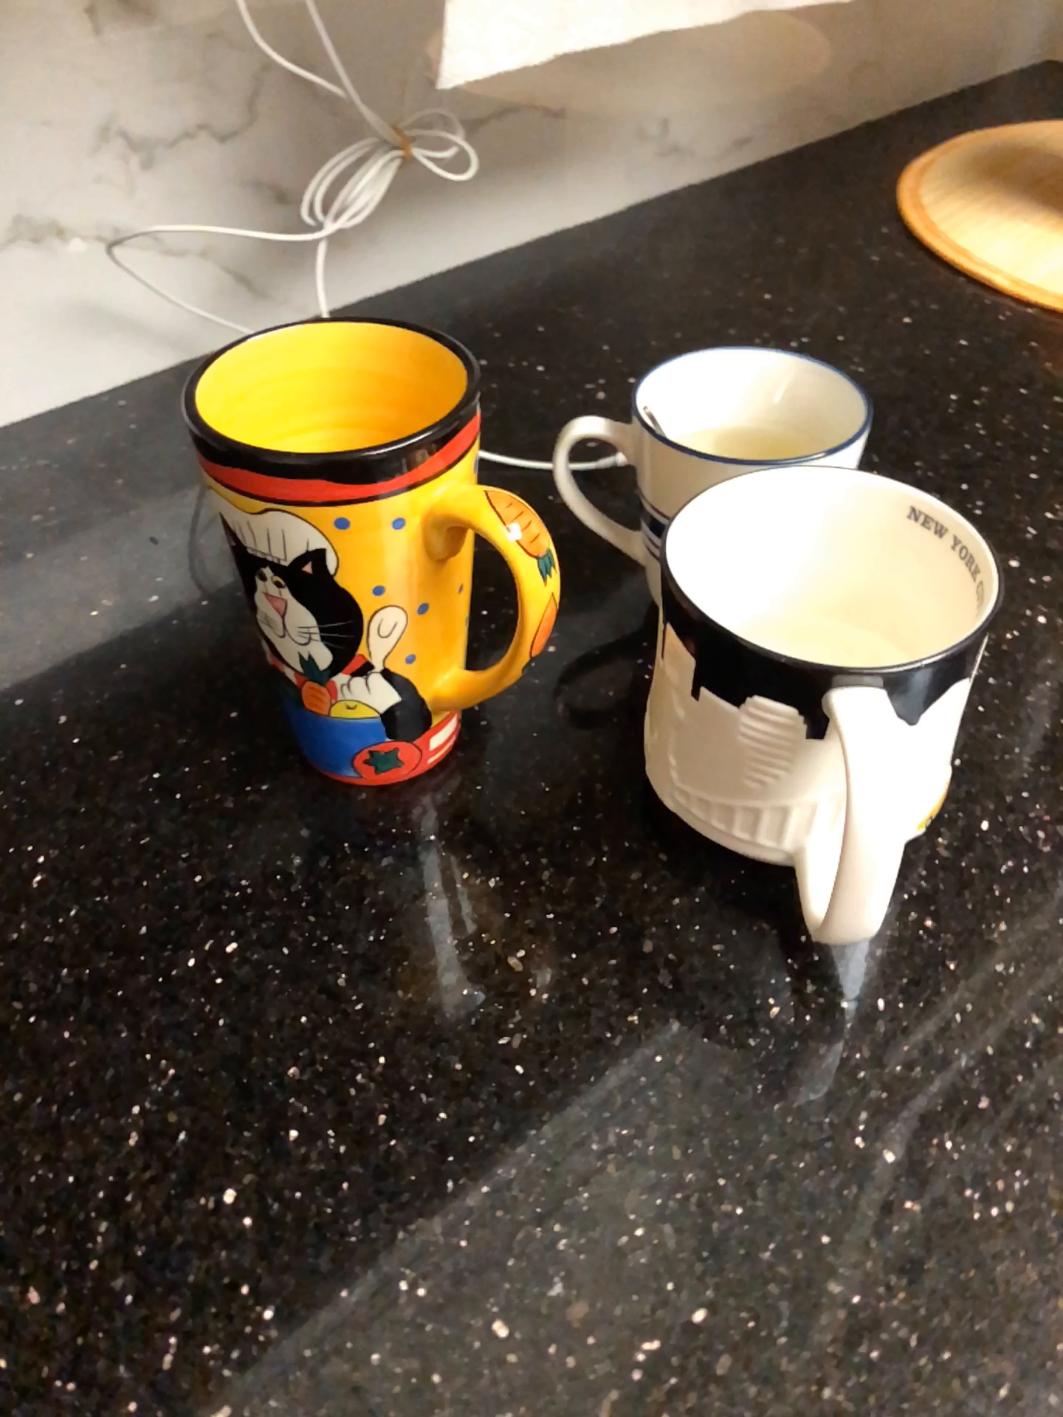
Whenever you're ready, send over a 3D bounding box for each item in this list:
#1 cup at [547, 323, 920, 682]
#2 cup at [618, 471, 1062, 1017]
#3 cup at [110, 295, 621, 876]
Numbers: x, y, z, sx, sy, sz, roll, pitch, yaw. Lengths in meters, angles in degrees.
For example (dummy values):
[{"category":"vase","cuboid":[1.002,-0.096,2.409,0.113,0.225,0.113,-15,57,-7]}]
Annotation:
[{"category":"cup","cuboid":[0.076,-0.082,0.456,0.120,0.090,0.080,13,45,14]},{"category":"cup","cuboid":[0.084,0.005,0.372,0.110,0.090,0.151,2,43,3]},{"category":"cup","cuboid":[-0.048,-0.043,0.388,0.120,0.129,0.090,28,50,27]}]
